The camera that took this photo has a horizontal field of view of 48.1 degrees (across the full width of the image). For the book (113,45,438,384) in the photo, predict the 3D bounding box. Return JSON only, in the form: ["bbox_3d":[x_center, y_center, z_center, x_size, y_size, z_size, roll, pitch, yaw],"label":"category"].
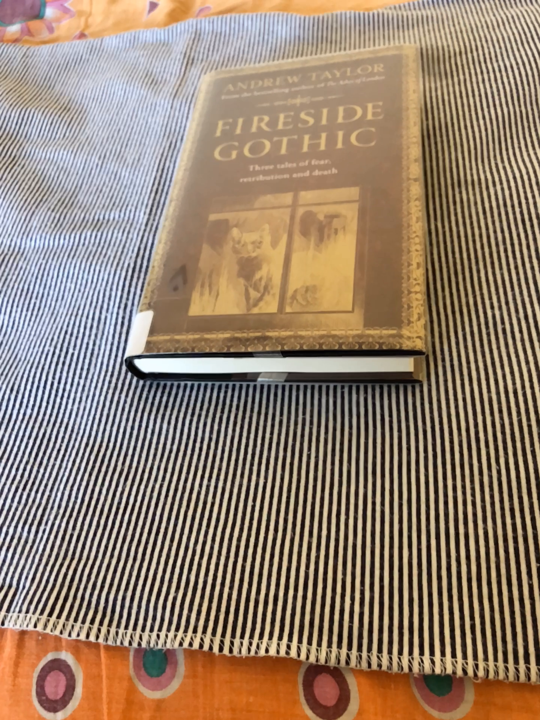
[{"bbox_3d":[0.013,-0.087,0.323,0.139,0.027,0.217,0,57,12],"label":"book"}]
